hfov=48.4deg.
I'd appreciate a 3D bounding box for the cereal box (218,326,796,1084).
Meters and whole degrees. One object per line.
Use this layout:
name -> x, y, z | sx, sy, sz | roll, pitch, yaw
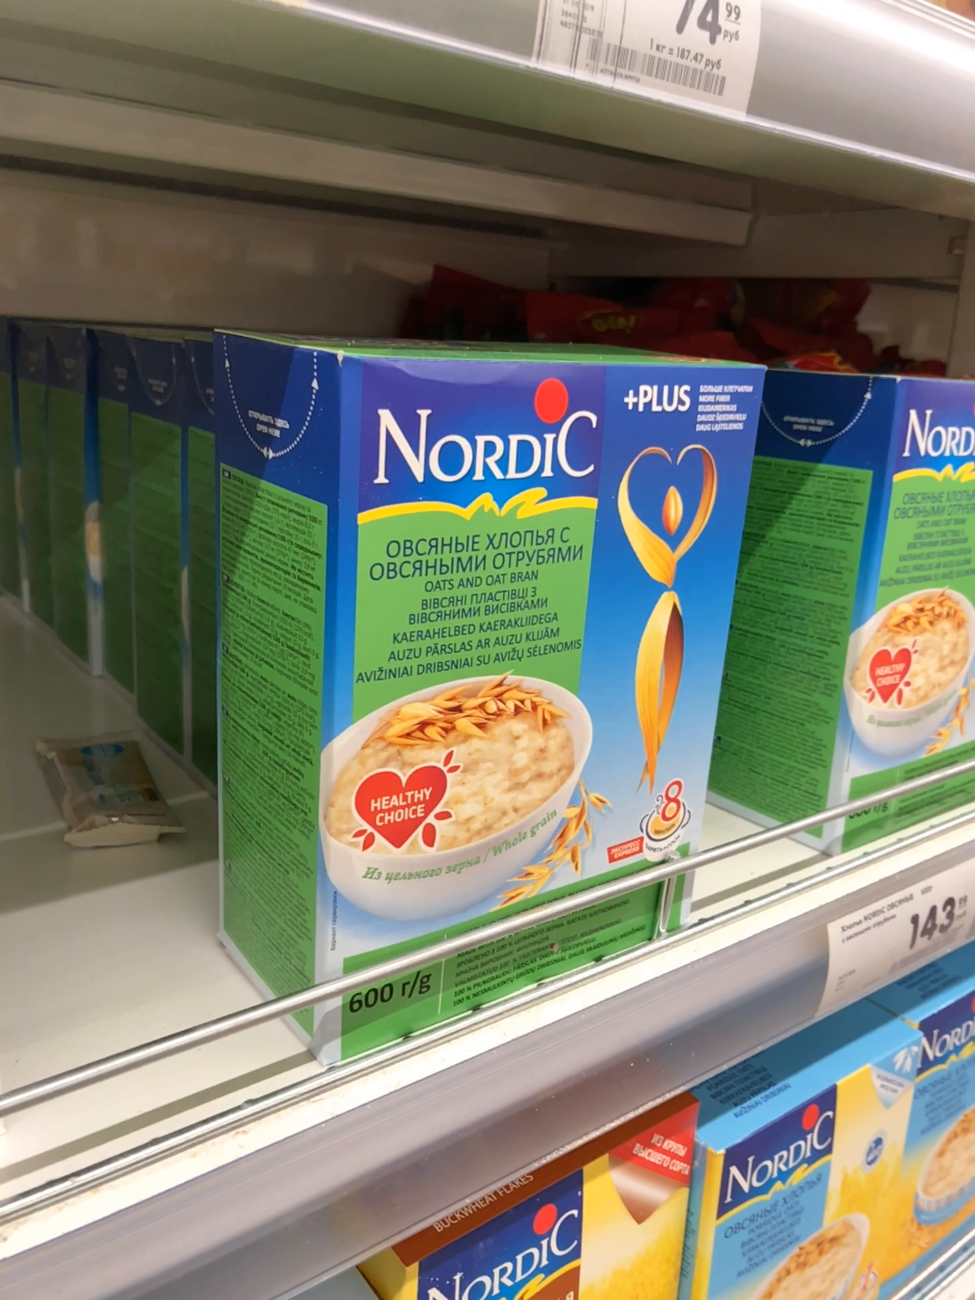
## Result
cereal box -> 0.004, 0.005, 0.330 | 0.150, 0.189, 0.070 | -8, 20, -35
